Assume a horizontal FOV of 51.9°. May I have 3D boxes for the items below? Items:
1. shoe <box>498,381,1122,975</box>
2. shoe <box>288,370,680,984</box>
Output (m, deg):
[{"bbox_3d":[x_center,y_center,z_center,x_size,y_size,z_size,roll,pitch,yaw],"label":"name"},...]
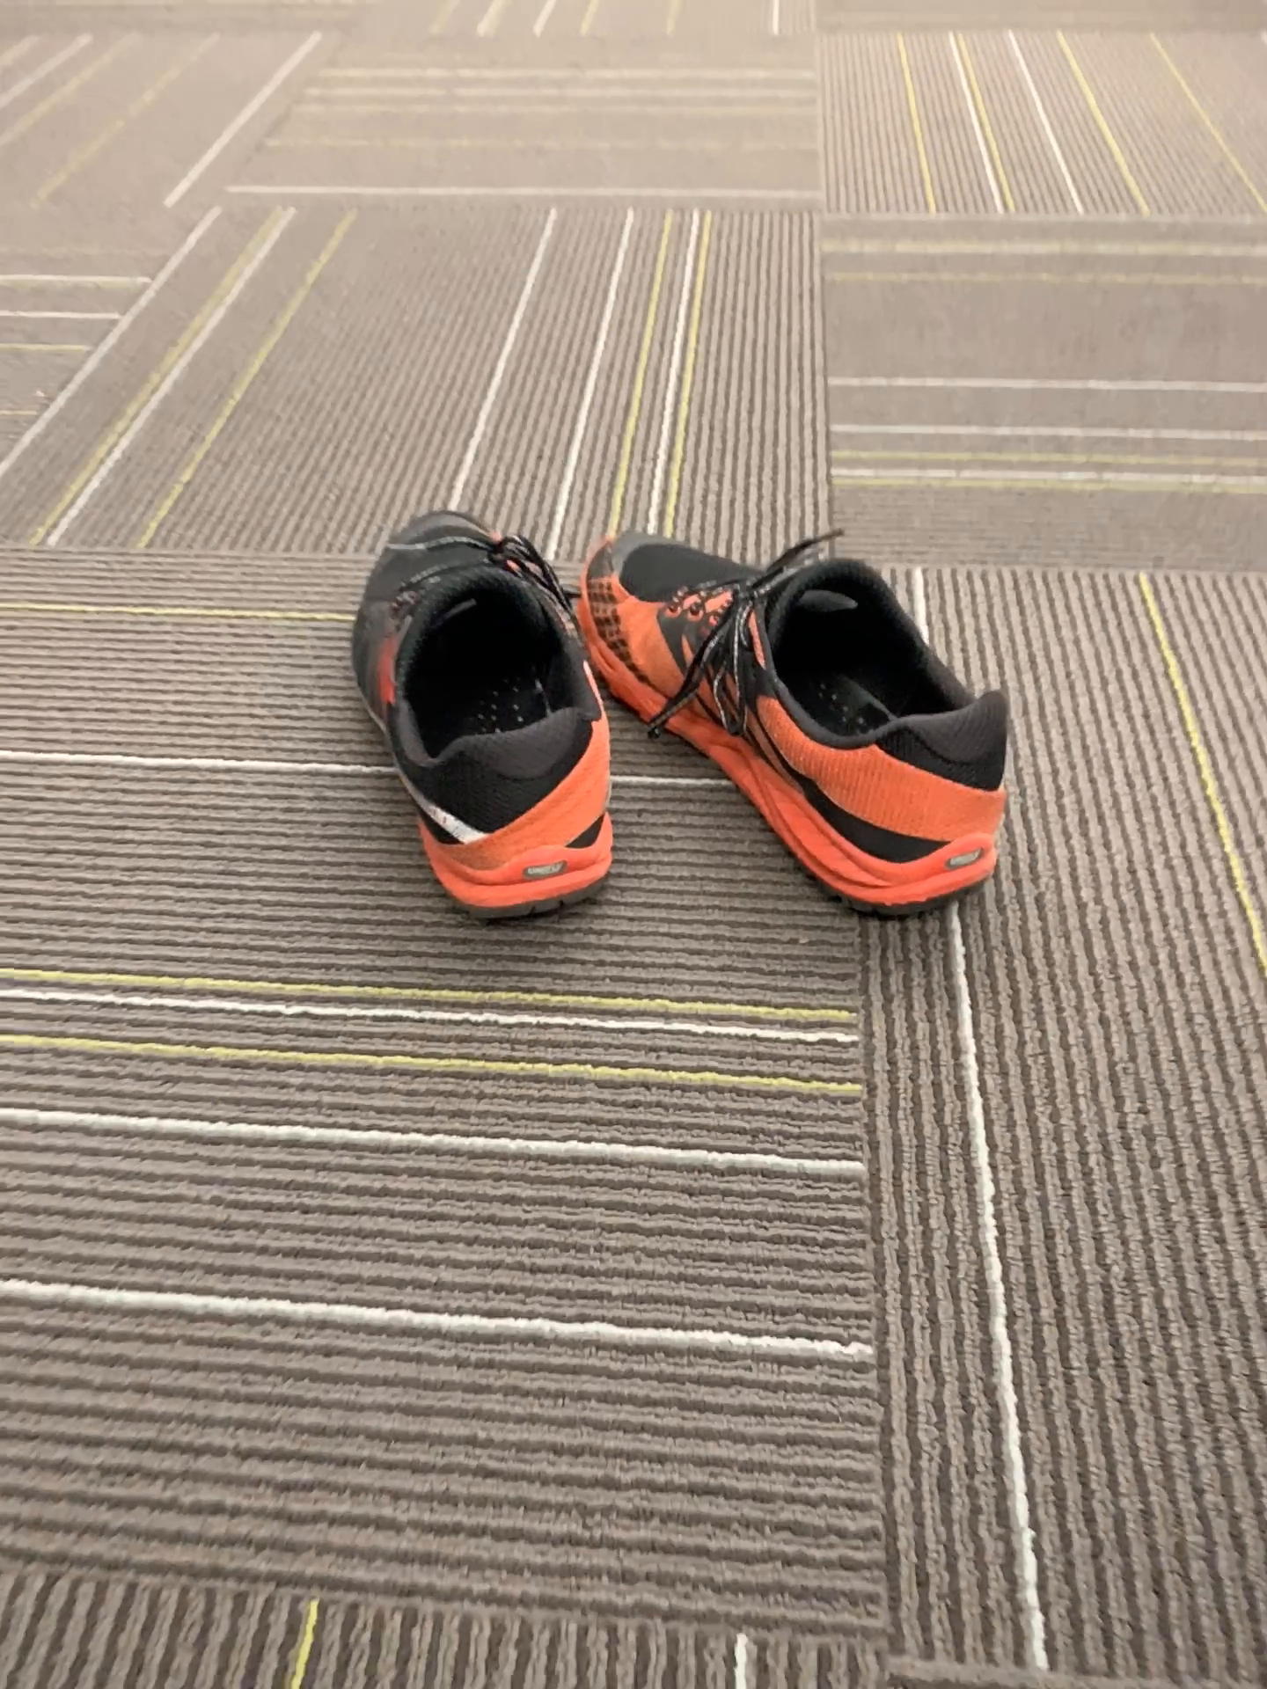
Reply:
[{"bbox_3d":[0.071,-0.102,0.674,0.130,0.129,0.311,-27,51,-23],"label":"shoe"},{"bbox_3d":[-0.086,-0.104,0.676,0.130,0.129,0.322,-12,46,-10],"label":"shoe"}]
